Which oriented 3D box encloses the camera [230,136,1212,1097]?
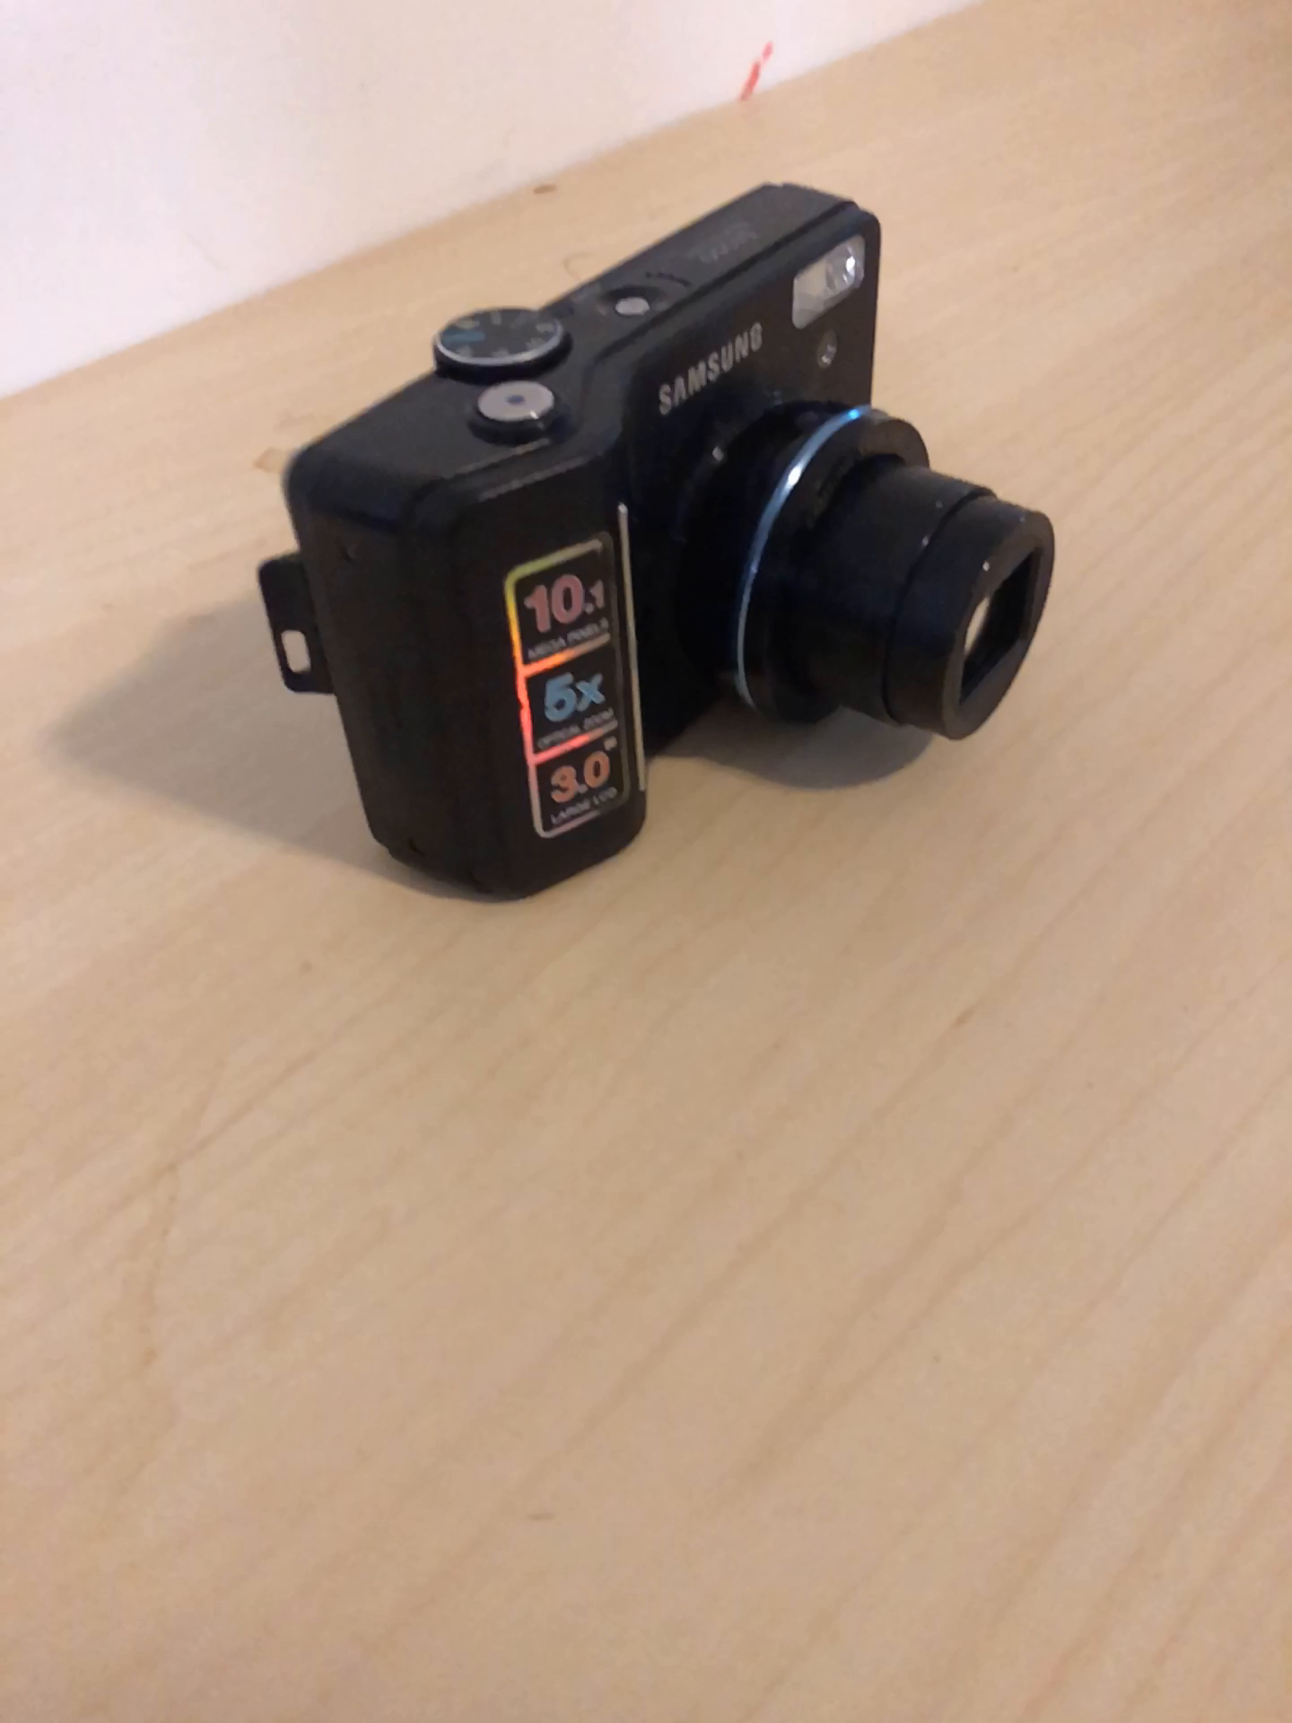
[{"bbox_3d":[0.015,-0.041,0.202,0.070,0.070,0.110,28,53,27],"label":"camera"}]
